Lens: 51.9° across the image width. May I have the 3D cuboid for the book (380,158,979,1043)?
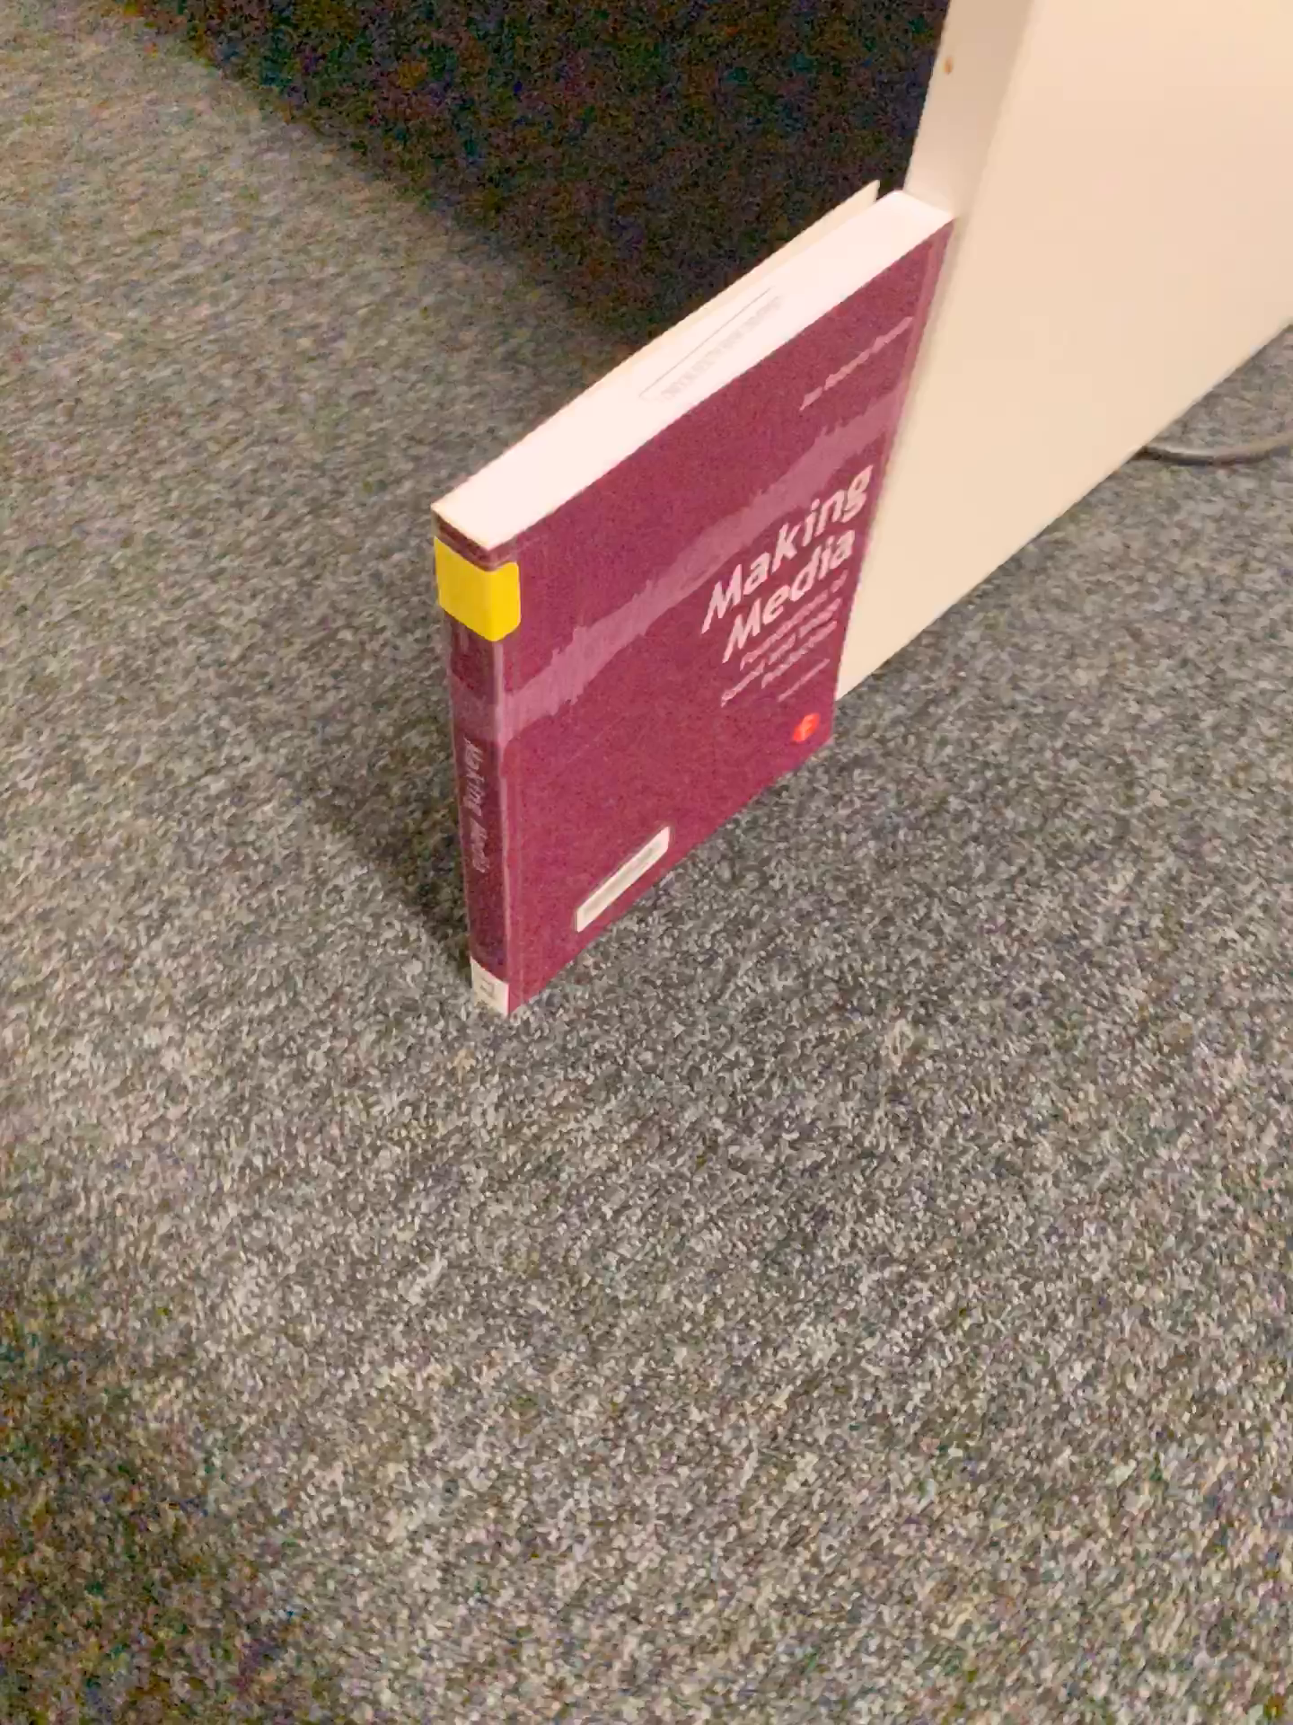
[{"bbox_3d":[0.011,-0.071,0.433,0.036,0.228,0.201,35,61,18],"label":"book"}]
